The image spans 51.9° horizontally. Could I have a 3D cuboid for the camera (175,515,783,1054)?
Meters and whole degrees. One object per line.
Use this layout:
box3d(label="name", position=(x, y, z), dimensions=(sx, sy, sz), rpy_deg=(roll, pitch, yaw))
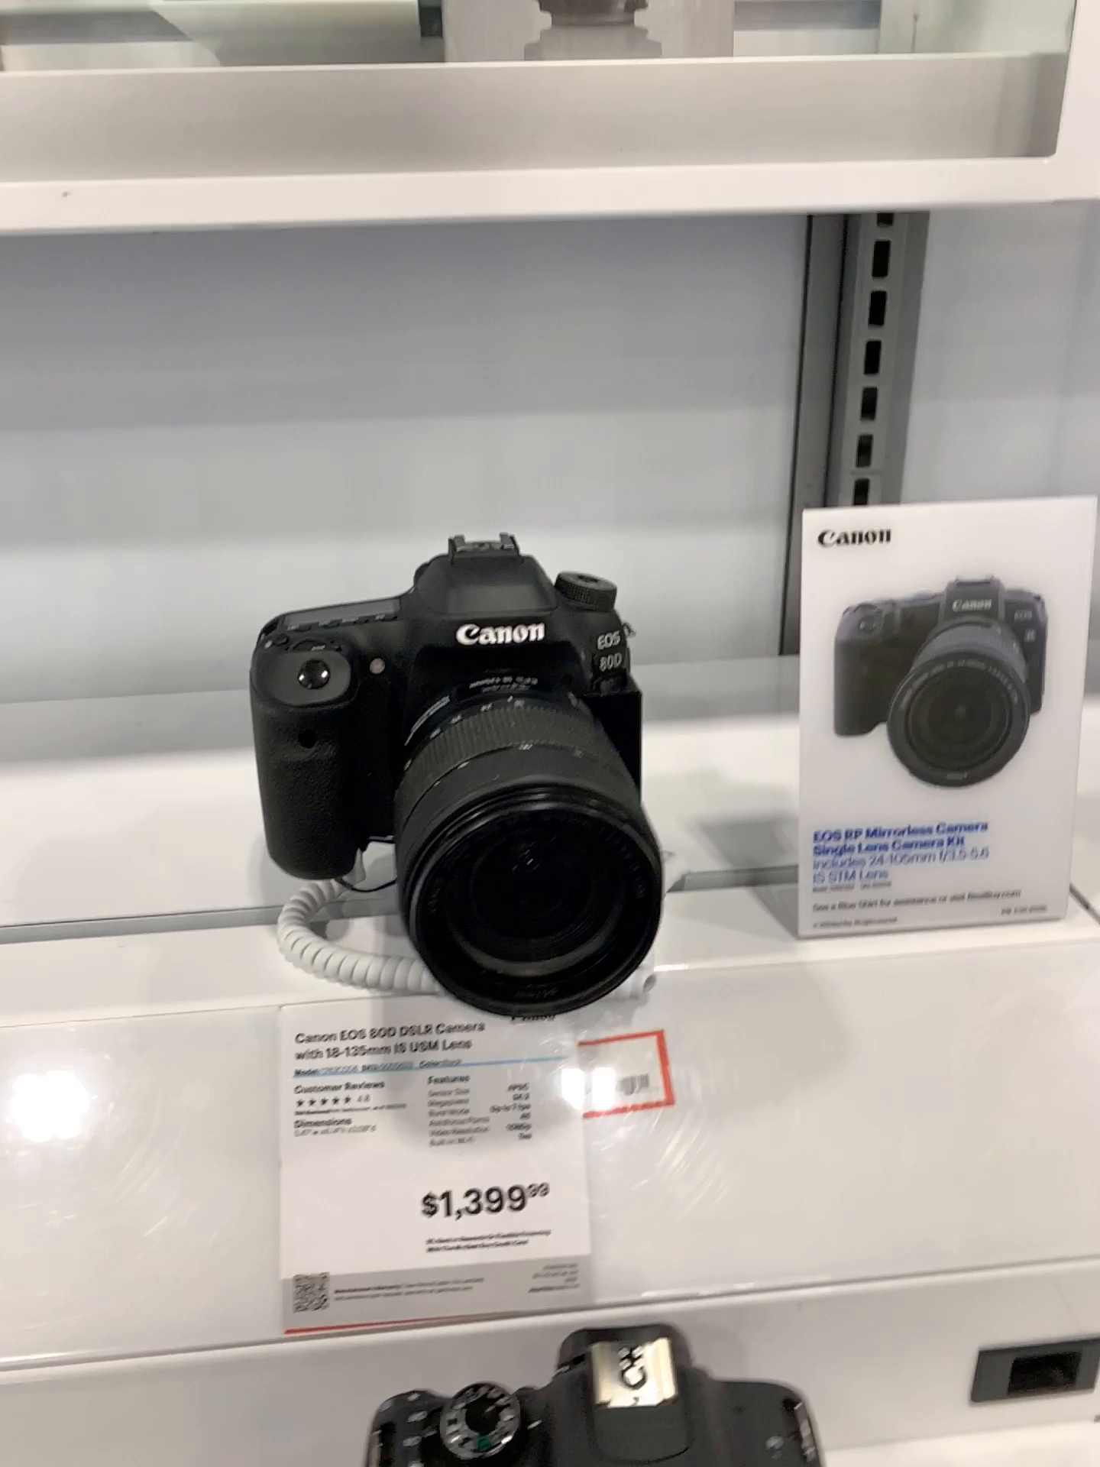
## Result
box3d(label="camera", position=(-0.026, 0.001, 0.375), dimensions=(0.150, 0.100, 0.171), rpy_deg=(-5, 24, -7))
